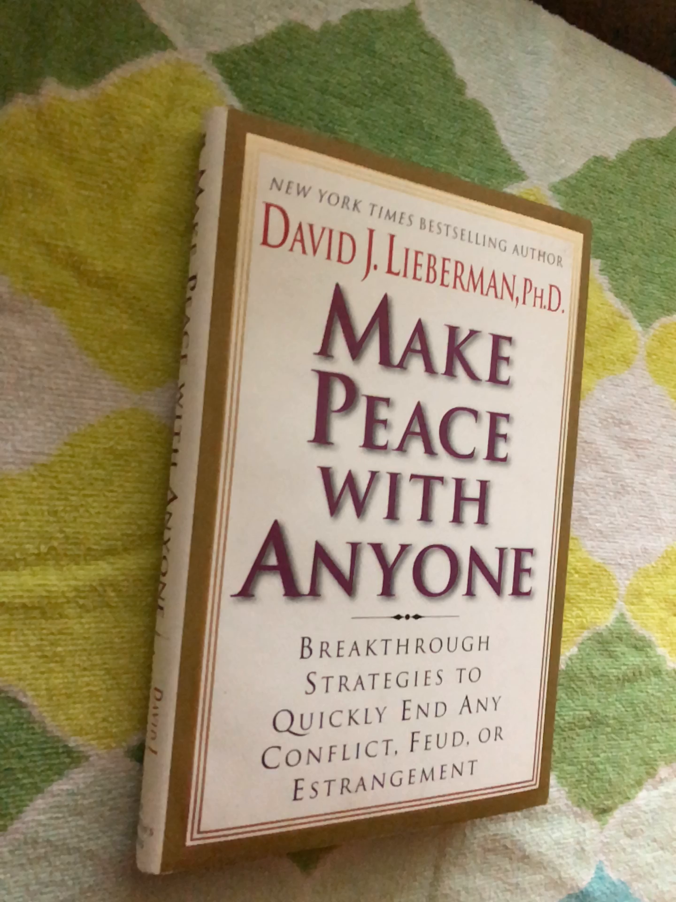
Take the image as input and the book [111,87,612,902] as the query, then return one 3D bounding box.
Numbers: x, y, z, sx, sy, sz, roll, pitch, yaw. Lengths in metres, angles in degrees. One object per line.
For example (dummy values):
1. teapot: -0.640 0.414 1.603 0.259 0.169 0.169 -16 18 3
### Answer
1. book: 0.016 0.016 0.231 0.146 0.030 0.204 5 87 -28
